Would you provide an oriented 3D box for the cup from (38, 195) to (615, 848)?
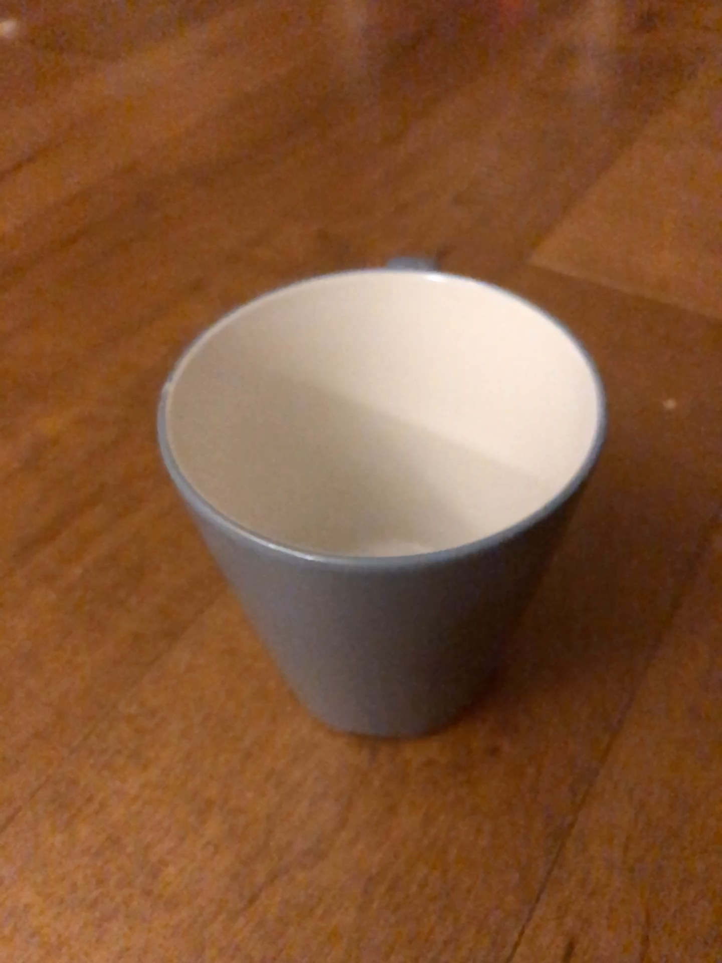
[{"bbox_3d":[0.004,0.003,0.224,0.100,0.099,0.141,4,46,8],"label":"cup"}]
